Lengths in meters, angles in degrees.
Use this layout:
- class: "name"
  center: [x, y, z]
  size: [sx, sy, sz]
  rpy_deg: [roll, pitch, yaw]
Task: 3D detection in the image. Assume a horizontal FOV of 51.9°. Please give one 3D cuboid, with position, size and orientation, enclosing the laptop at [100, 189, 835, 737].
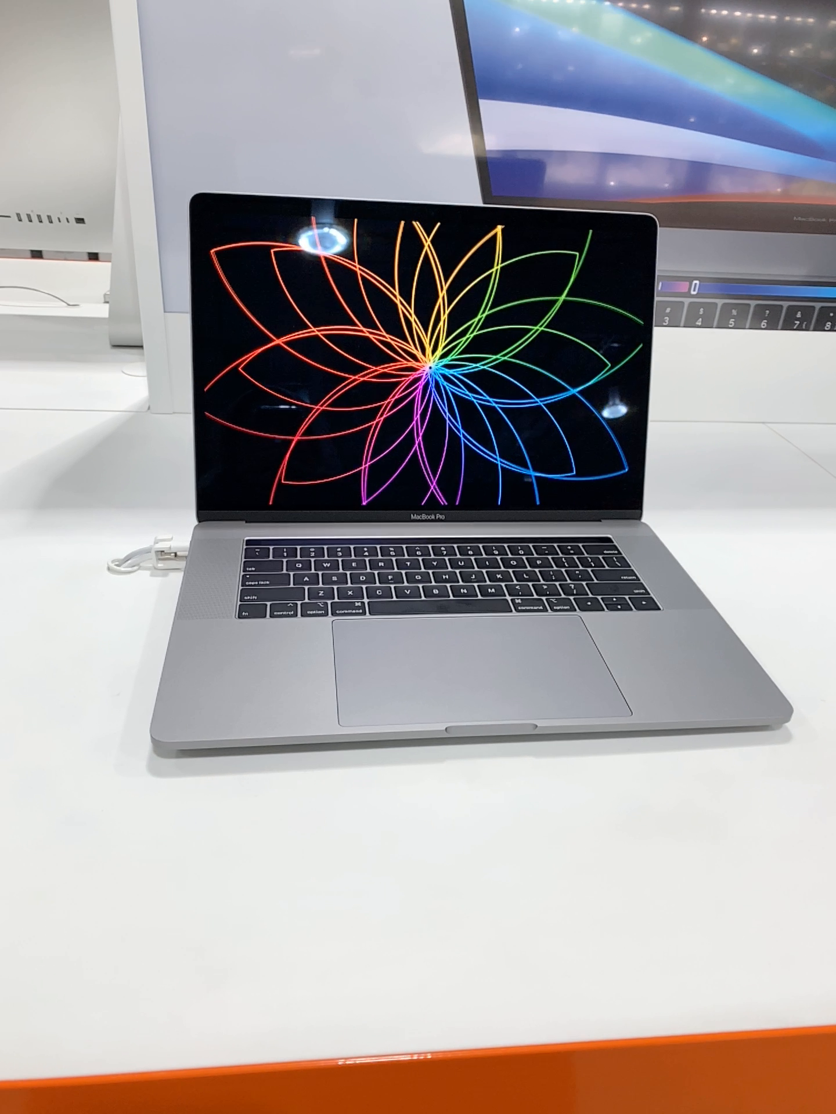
- class: "laptop"
  center: [0.024, -0.079, 0.511]
  size: [0.330, 0.205, 0.304]
  rpy_deg: [0, 29, -9]
